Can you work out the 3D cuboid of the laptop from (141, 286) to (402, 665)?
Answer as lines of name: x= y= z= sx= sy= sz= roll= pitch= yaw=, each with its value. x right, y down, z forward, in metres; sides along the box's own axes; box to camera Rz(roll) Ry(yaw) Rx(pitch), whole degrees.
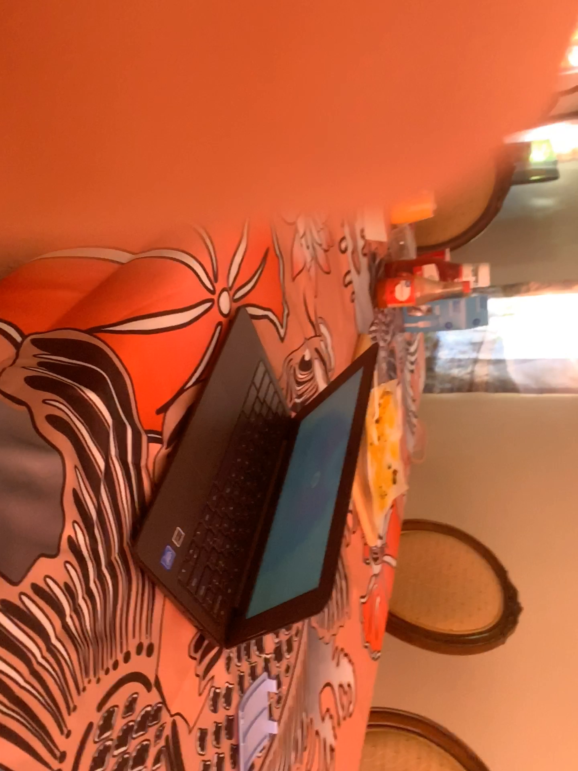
laptop: x=0.013 y=0.083 z=0.610 sx=0.211 sy=0.144 sz=0.300 roll=69 pitch=29 yaw=-44
